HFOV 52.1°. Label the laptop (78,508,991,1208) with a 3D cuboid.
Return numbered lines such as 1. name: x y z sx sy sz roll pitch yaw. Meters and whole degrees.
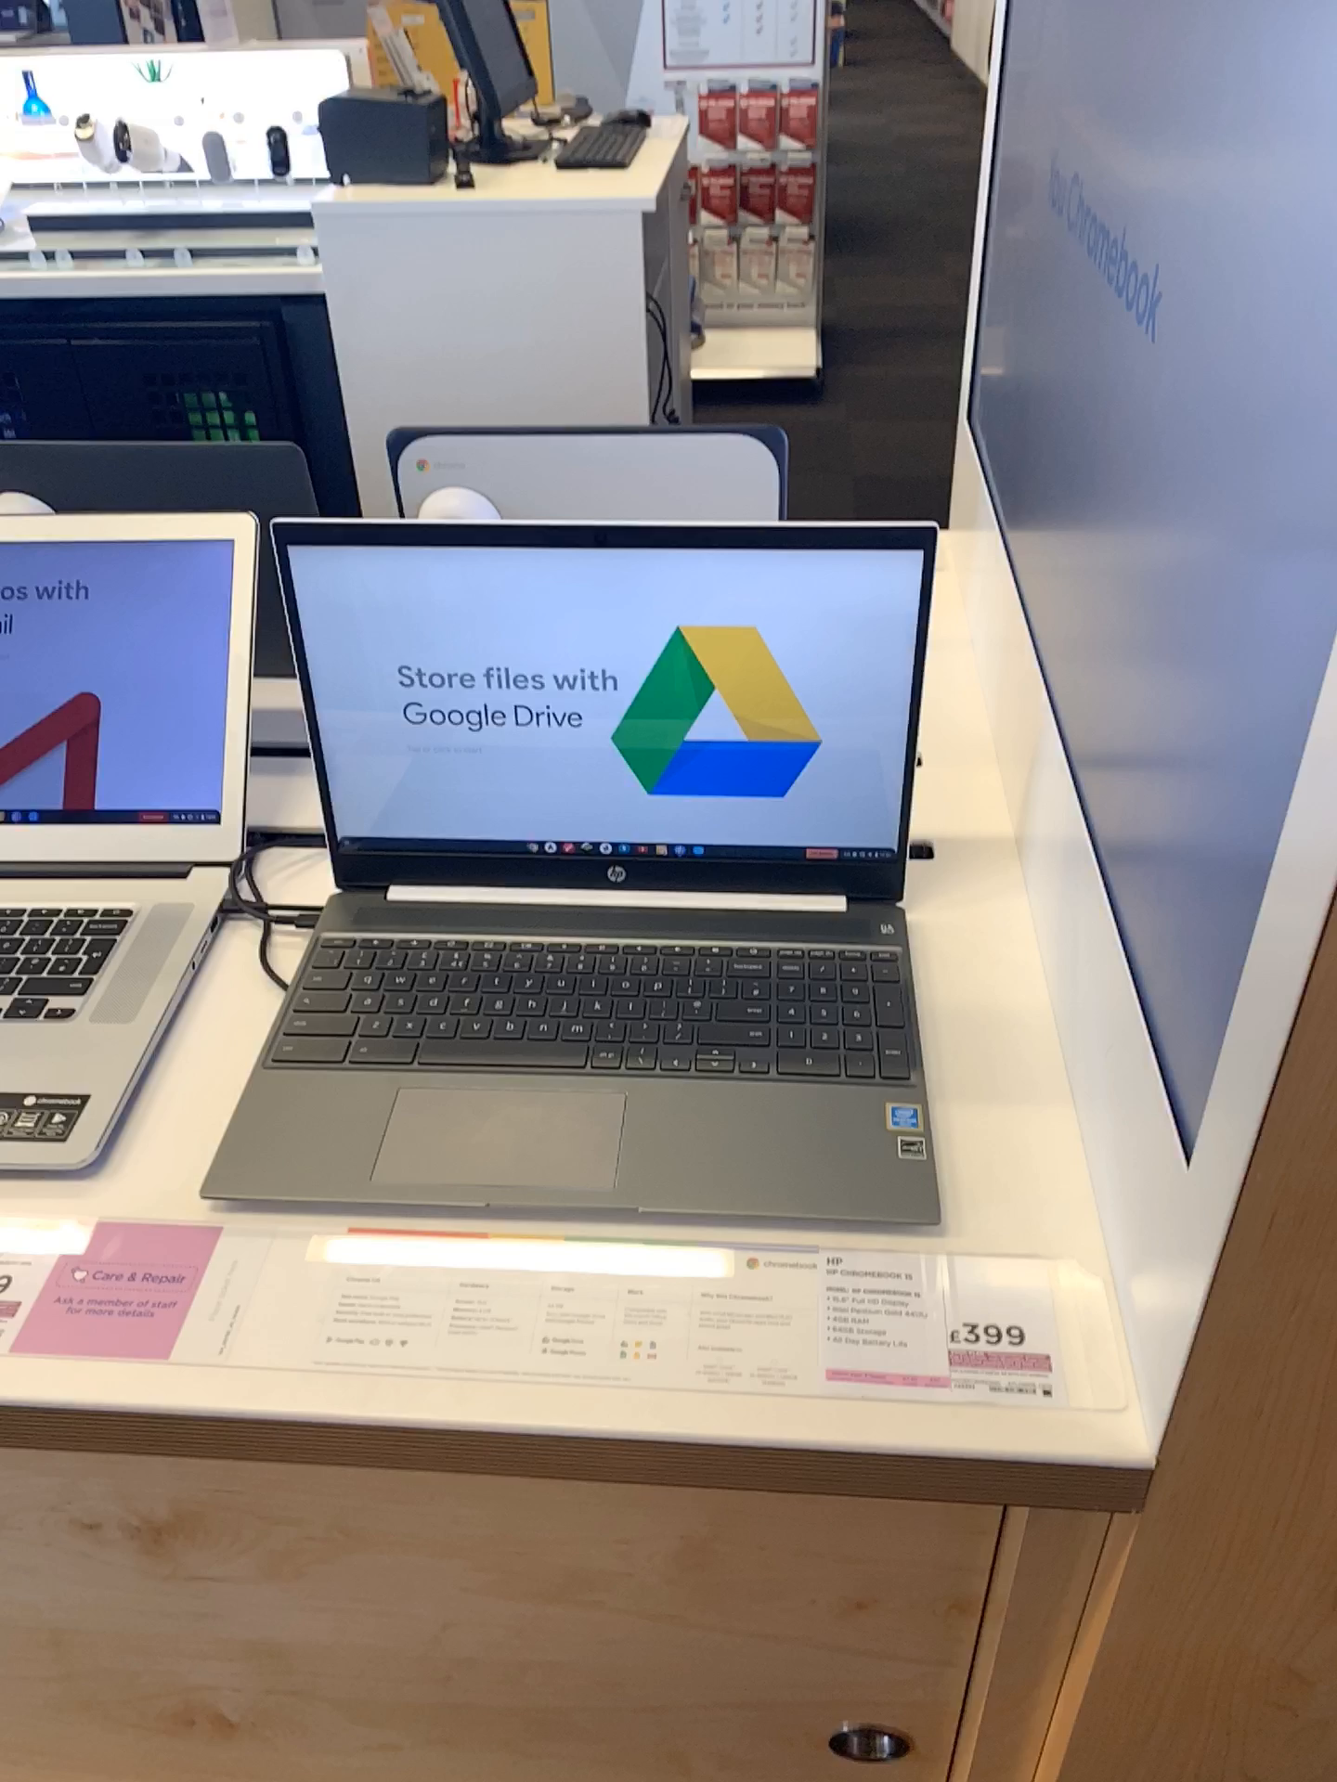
1. laptop: -0.044 -0.030 0.692 0.351 0.228 0.266 1 37 4
